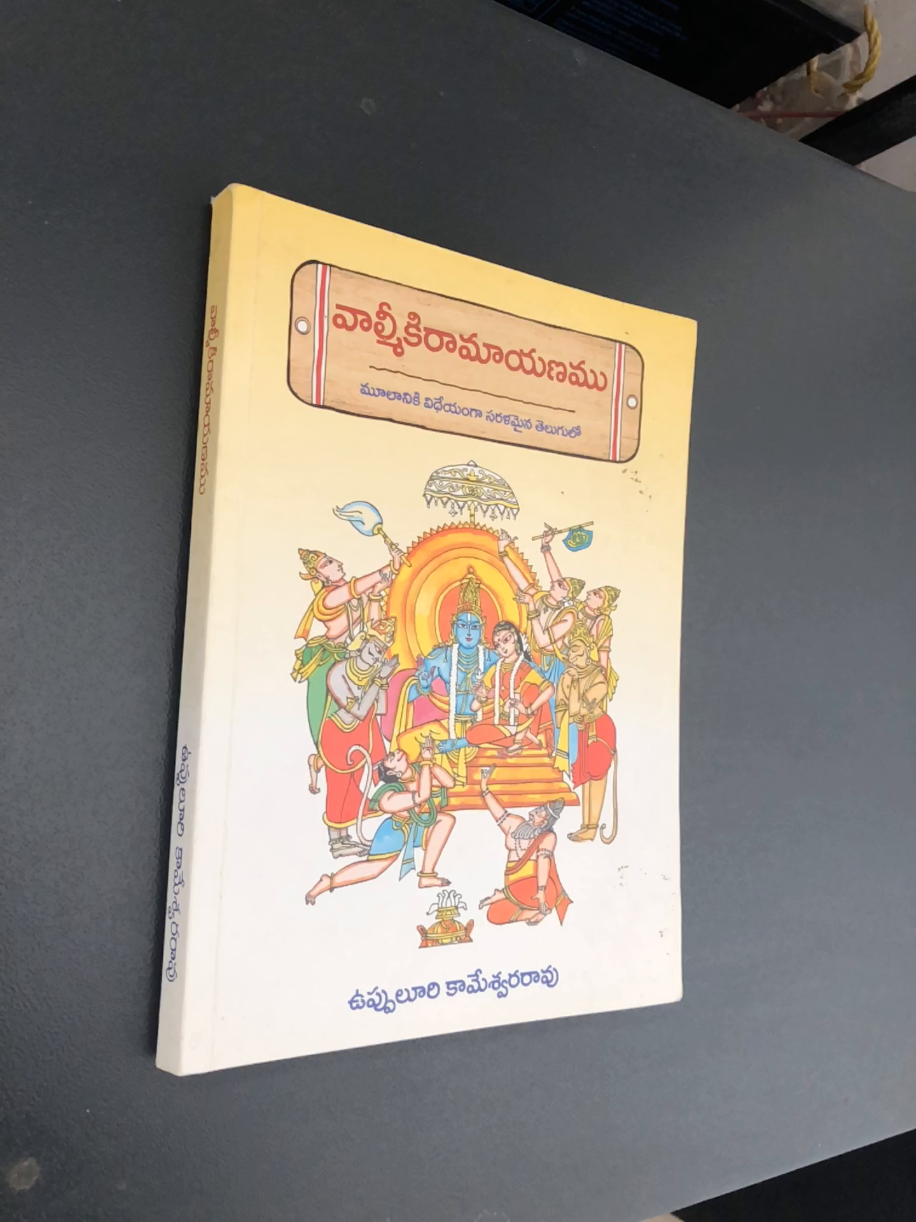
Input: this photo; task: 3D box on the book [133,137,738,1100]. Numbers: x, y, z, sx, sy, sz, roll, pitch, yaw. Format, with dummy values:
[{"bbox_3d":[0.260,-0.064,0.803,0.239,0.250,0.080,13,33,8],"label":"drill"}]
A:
[{"bbox_3d":[0.009,0.005,0.310,0.191,0.020,0.240,6,83,-31],"label":"book"}]
